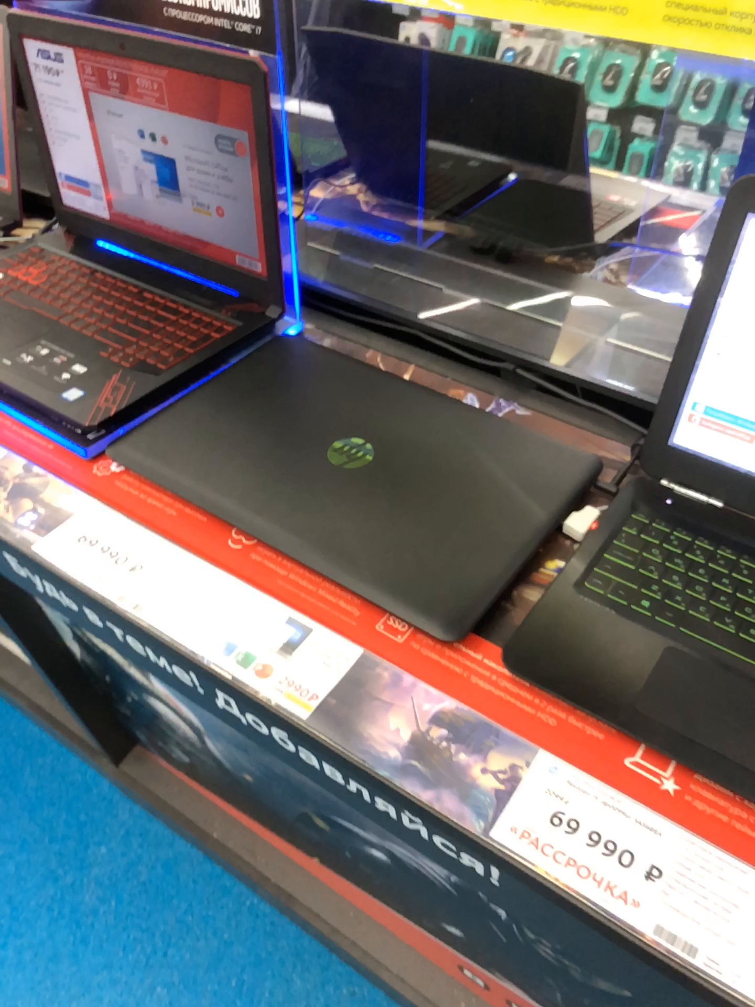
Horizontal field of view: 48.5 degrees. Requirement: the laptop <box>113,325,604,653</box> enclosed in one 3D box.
[{"bbox_3d":[-0.020,-0.041,0.735,0.366,0.012,0.233,27,50,26],"label":"laptop"}]
